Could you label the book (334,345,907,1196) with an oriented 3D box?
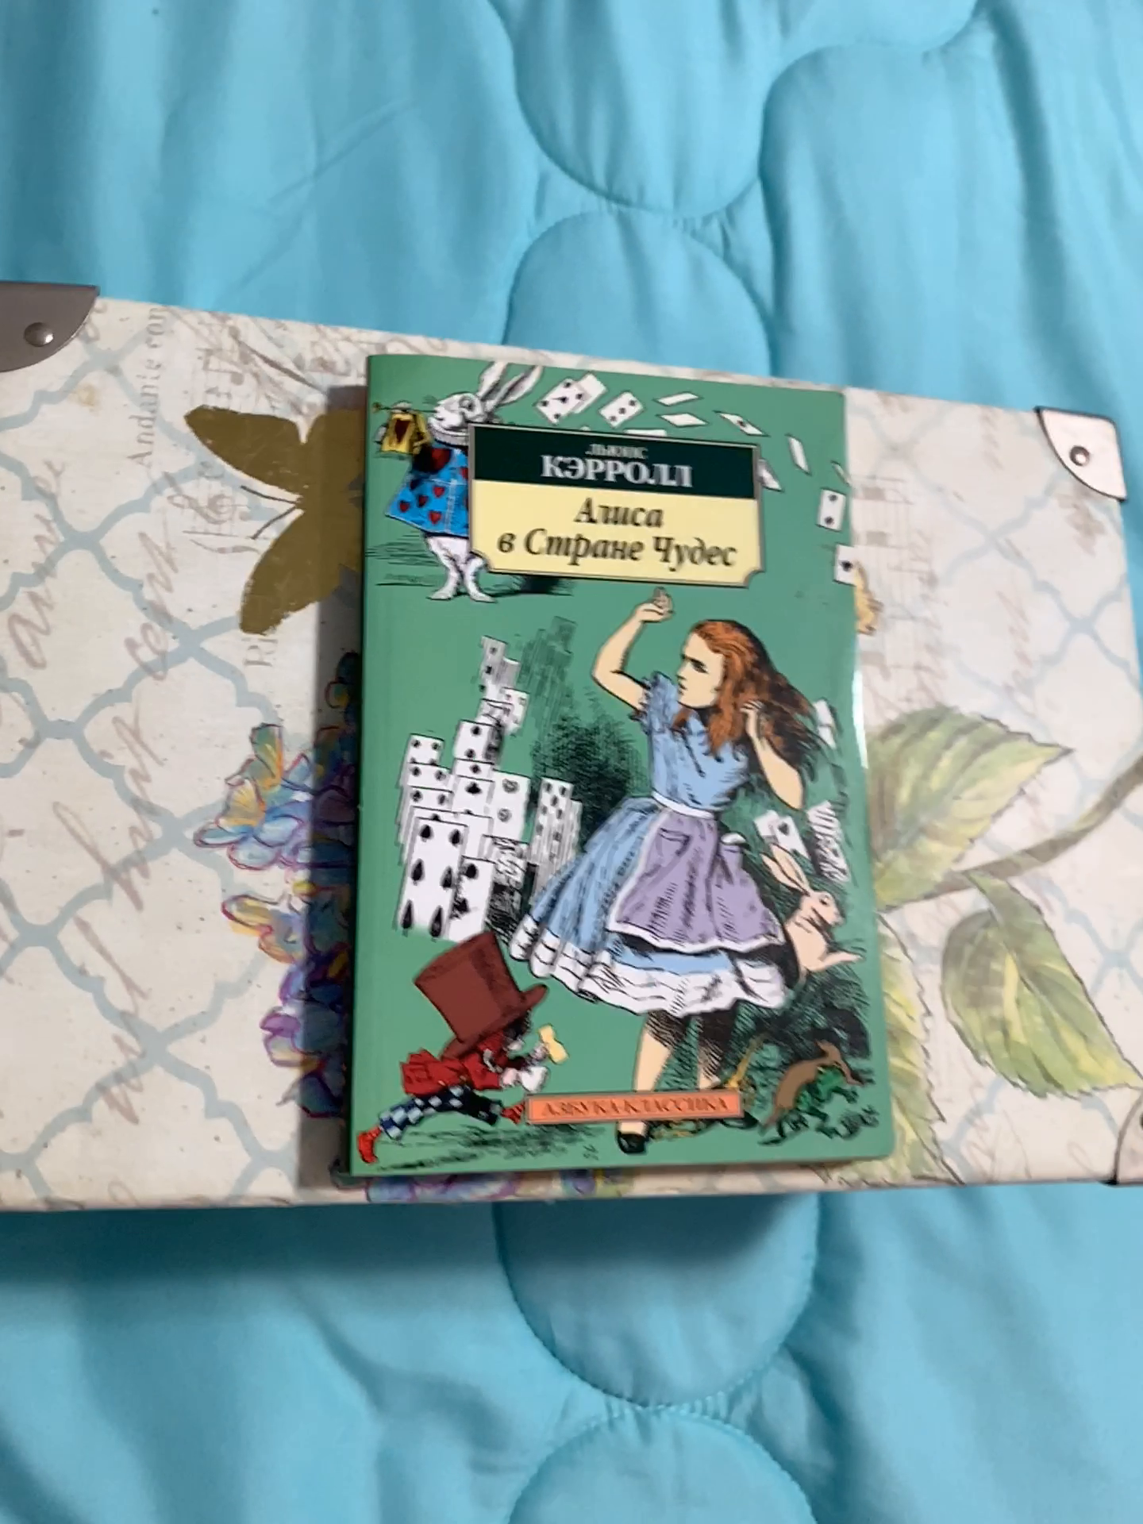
[{"bbox_3d":[0.009,-0.002,0.265,0.118,0.018,0.179,2,77,-13],"label":"book"}]
